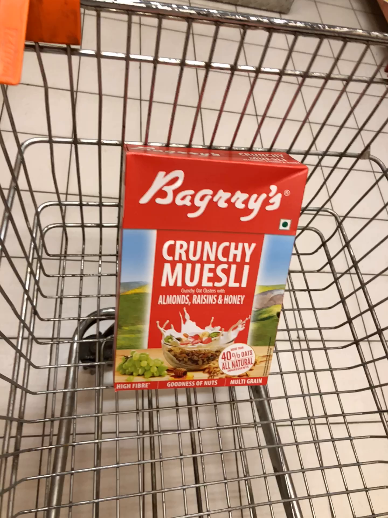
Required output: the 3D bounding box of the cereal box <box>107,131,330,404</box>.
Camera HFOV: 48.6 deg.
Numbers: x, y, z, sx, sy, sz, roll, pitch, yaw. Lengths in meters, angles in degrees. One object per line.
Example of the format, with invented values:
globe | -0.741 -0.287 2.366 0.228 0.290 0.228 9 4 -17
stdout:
cereal box | 0.010 0.020 0.459 0.190 0.279 0.060 1 25 -14
